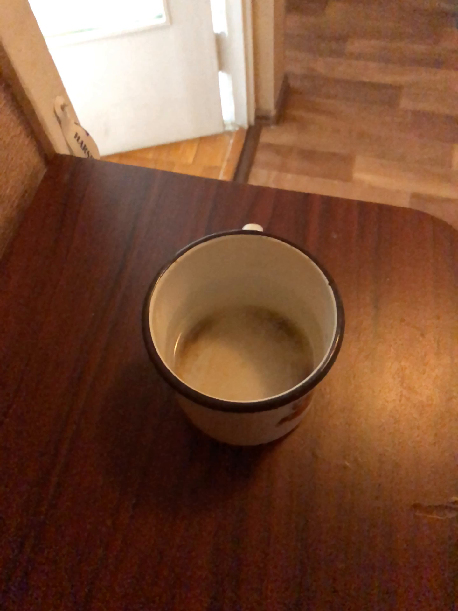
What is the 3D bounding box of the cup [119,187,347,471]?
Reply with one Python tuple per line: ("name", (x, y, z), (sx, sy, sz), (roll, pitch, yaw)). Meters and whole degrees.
("cup", (0.013, 0.019, 0.356), (0.118, 0.114, 0.156), (5, 63, 8))
